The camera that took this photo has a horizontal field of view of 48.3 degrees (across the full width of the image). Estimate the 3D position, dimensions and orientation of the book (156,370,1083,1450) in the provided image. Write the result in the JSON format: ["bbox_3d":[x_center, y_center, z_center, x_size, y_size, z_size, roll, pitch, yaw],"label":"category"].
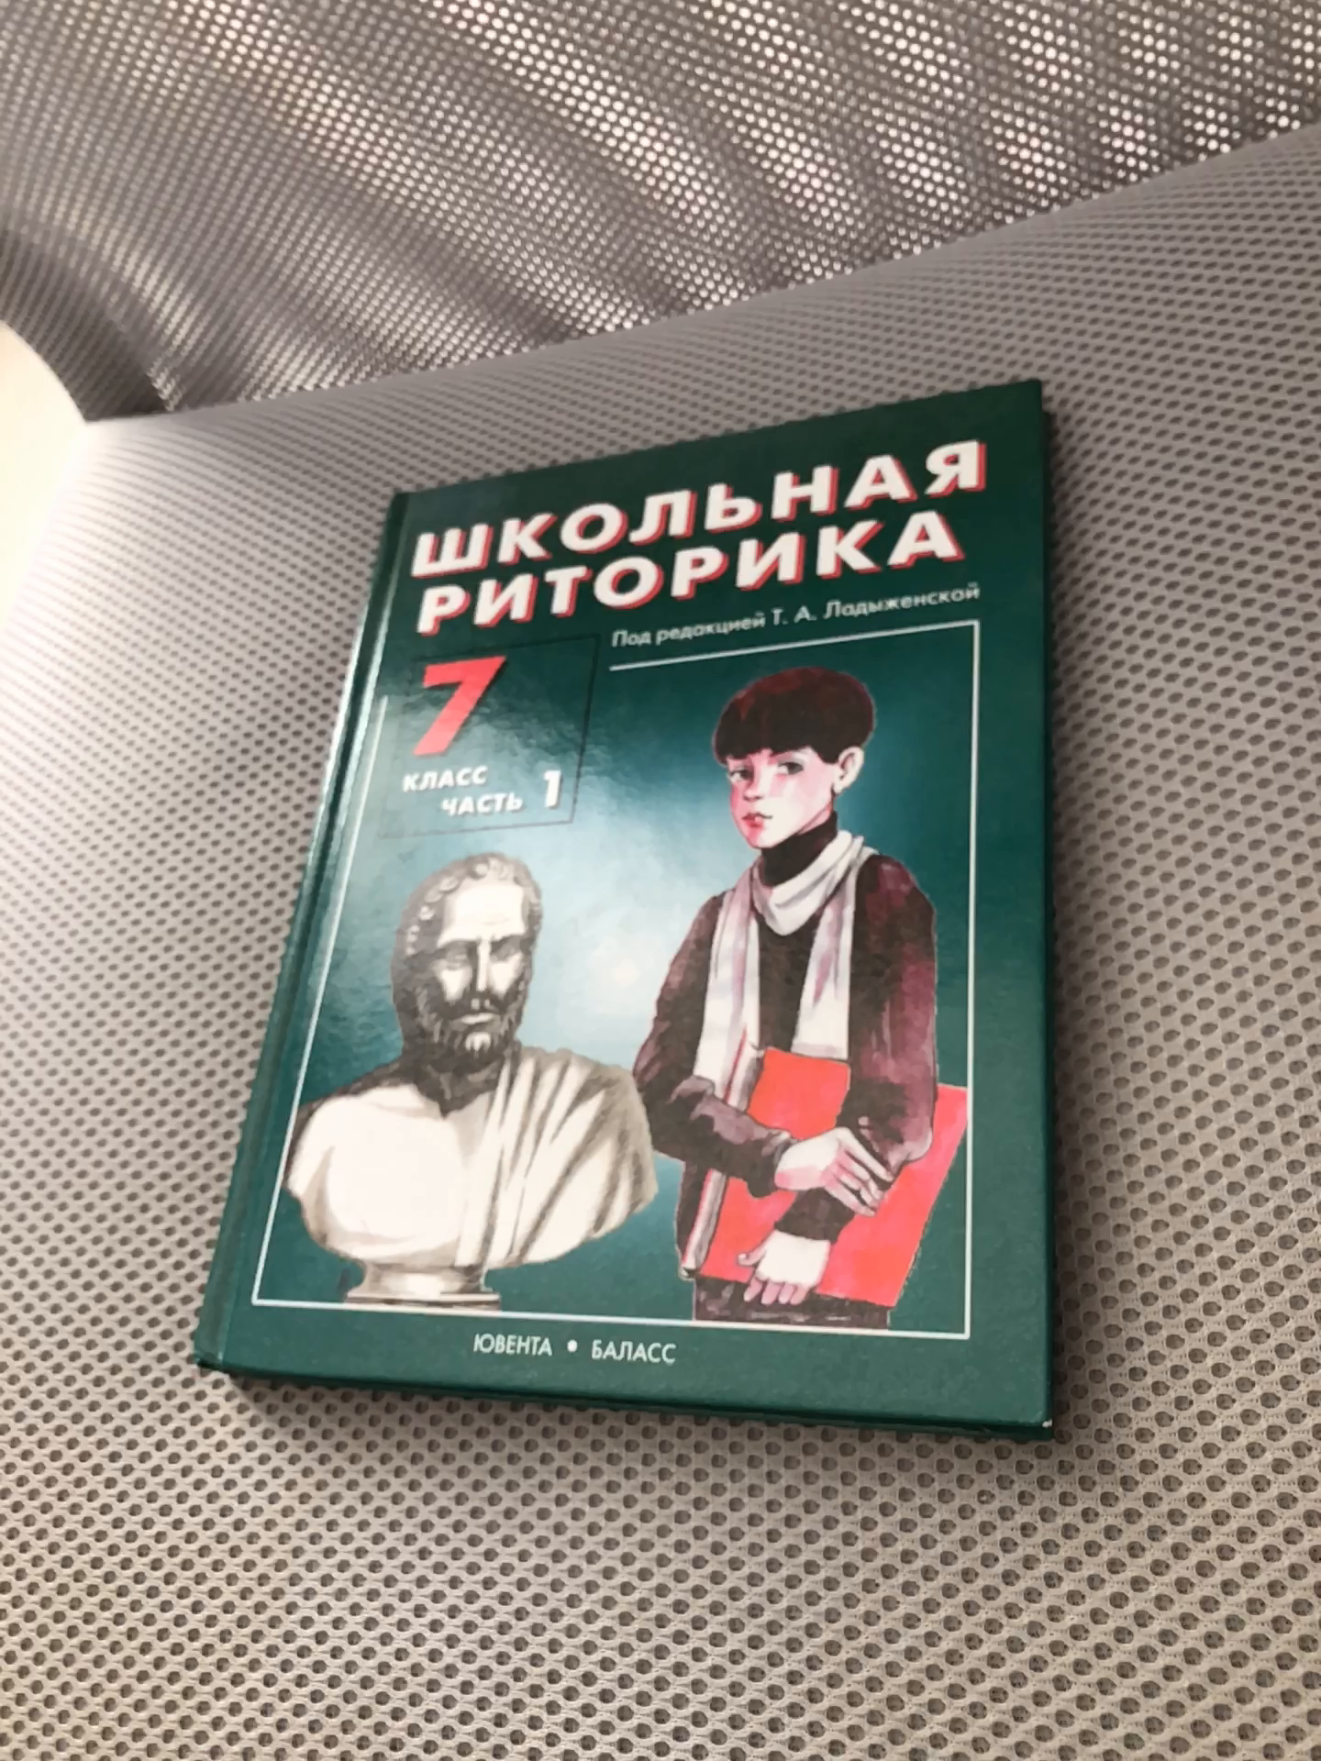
[{"bbox_3d":[-0.003,-0.001,0.307,0.167,0.030,0.211,-4,63,21],"label":"book"}]
